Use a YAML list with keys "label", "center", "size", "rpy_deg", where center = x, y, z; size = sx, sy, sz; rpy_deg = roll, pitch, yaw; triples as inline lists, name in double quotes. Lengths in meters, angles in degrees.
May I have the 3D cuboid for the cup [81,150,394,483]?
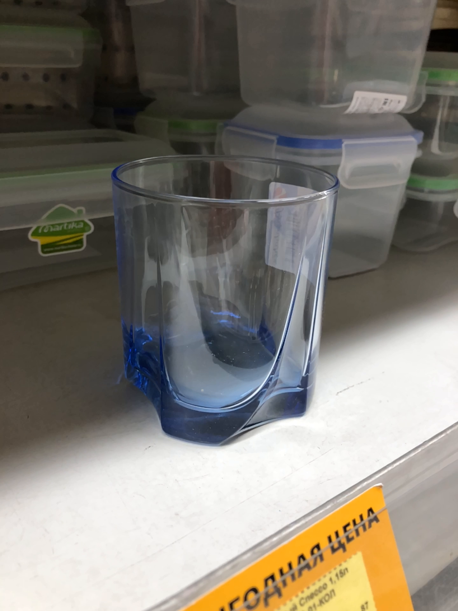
- label: "cup"
  center: [-0.001, -0.006, 0.208]
  size: [0.085, 0.095, 0.083]
  rpy_deg: [0, 25, 0]
